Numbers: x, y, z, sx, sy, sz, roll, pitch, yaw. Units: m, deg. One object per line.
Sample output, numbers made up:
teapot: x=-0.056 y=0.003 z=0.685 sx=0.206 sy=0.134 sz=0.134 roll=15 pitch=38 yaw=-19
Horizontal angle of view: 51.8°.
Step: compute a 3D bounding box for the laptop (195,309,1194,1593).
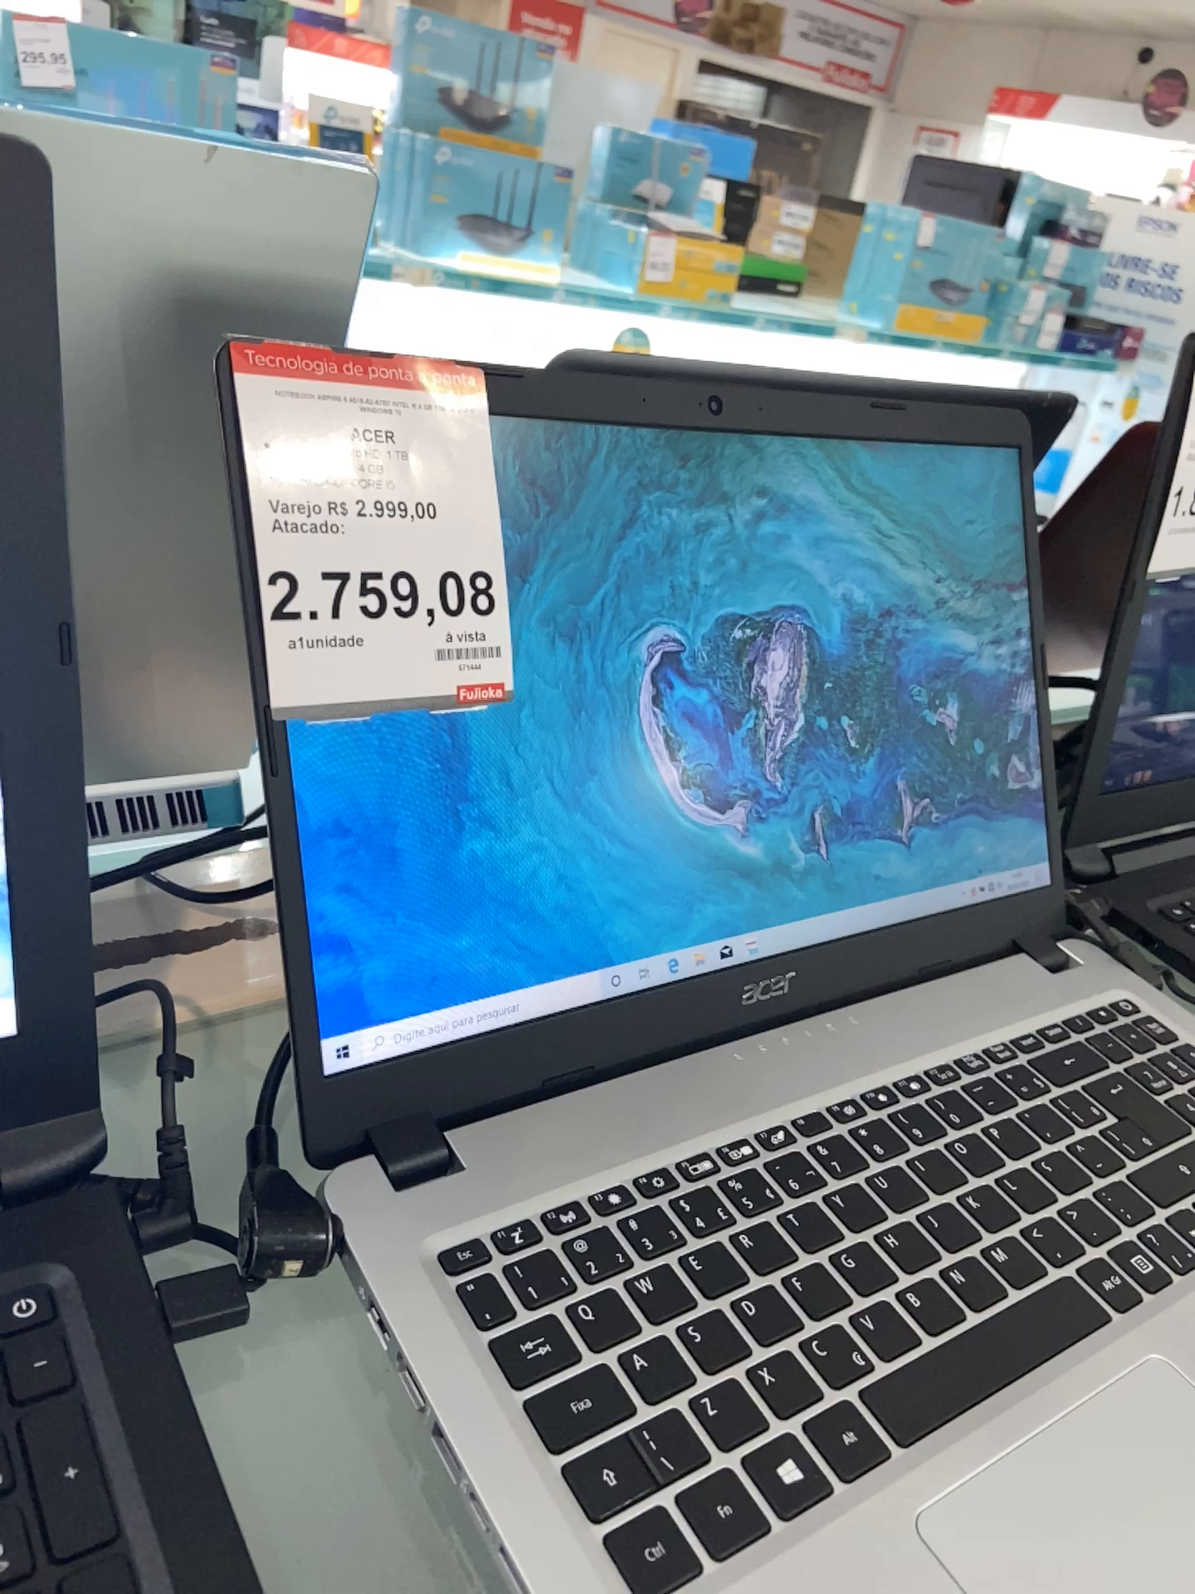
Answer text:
laptop: x=0.118 y=0.021 z=0.357 sx=0.351 sy=0.198 sz=0.363 roll=-8 pitch=34 yaw=-34
